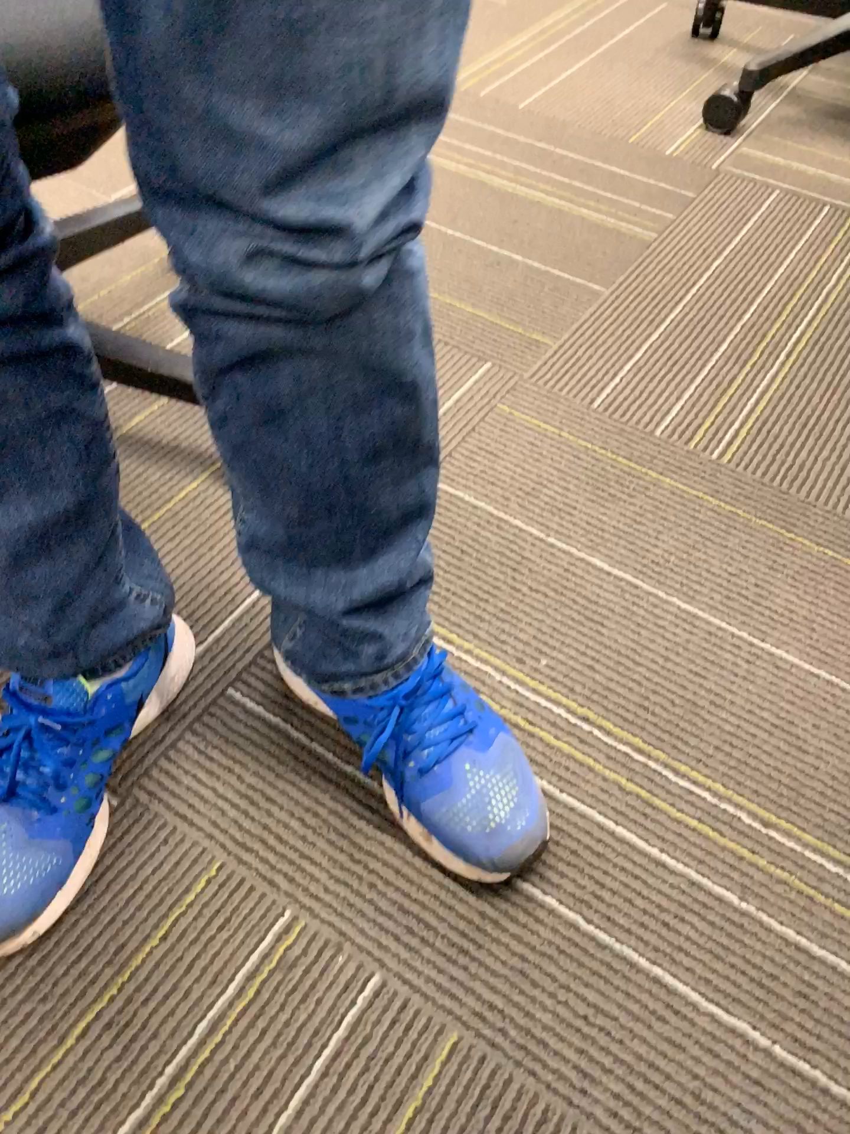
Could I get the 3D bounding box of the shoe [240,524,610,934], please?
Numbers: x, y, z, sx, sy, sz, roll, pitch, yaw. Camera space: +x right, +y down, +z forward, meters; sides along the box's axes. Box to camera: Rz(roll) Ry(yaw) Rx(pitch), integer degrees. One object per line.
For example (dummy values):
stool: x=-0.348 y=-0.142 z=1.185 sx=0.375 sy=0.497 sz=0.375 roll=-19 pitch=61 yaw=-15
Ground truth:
shoe: x=-0.014 y=0.106 z=0.696 sx=0.141 sy=0.088 sz=0.312 roll=-24 pitch=46 yaw=-21

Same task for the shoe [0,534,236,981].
shoe: x=-0.274 y=0.121 z=0.680 sx=0.119 sy=0.088 sz=0.340 roll=12 pitch=41 yaw=7
